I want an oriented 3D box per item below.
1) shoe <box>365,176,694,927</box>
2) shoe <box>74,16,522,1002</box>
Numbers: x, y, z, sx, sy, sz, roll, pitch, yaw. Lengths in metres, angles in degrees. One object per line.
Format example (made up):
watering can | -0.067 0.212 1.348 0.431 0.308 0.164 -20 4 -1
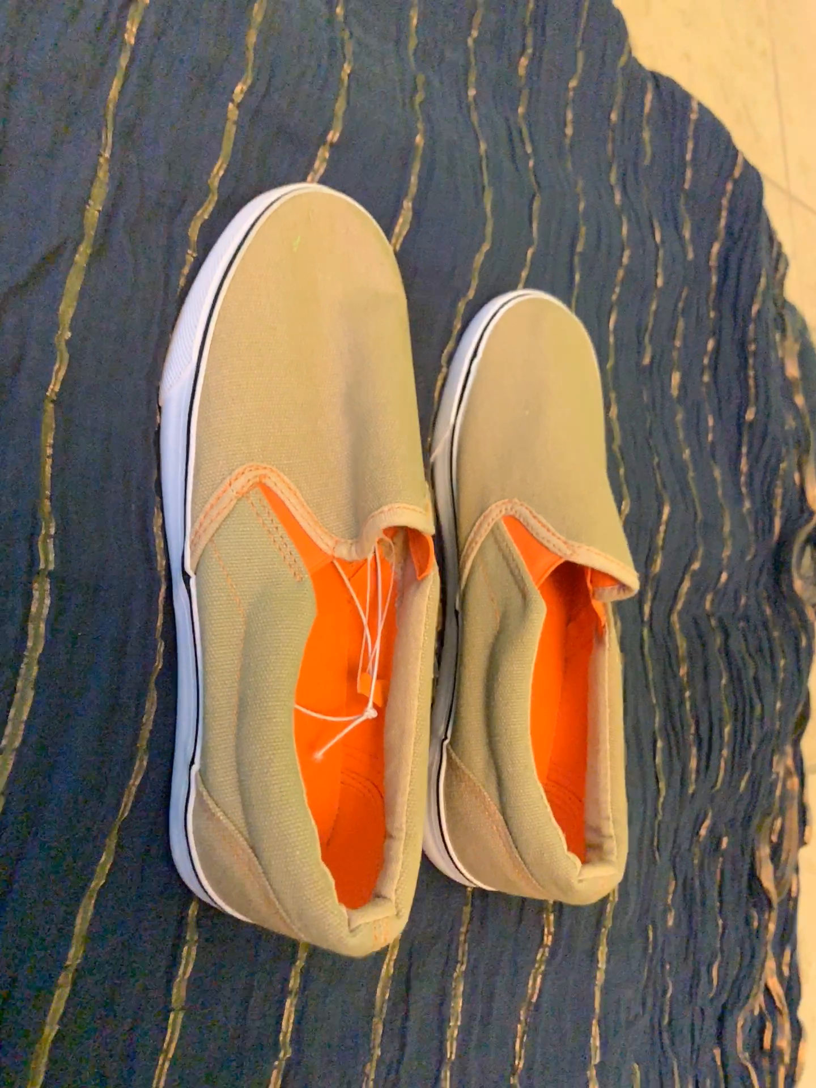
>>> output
shoe | 0.056 0.003 0.358 0.100 0.079 0.271 15 73 -39
shoe | -0.028 -0.012 0.277 0.096 0.079 0.262 14 73 -39
